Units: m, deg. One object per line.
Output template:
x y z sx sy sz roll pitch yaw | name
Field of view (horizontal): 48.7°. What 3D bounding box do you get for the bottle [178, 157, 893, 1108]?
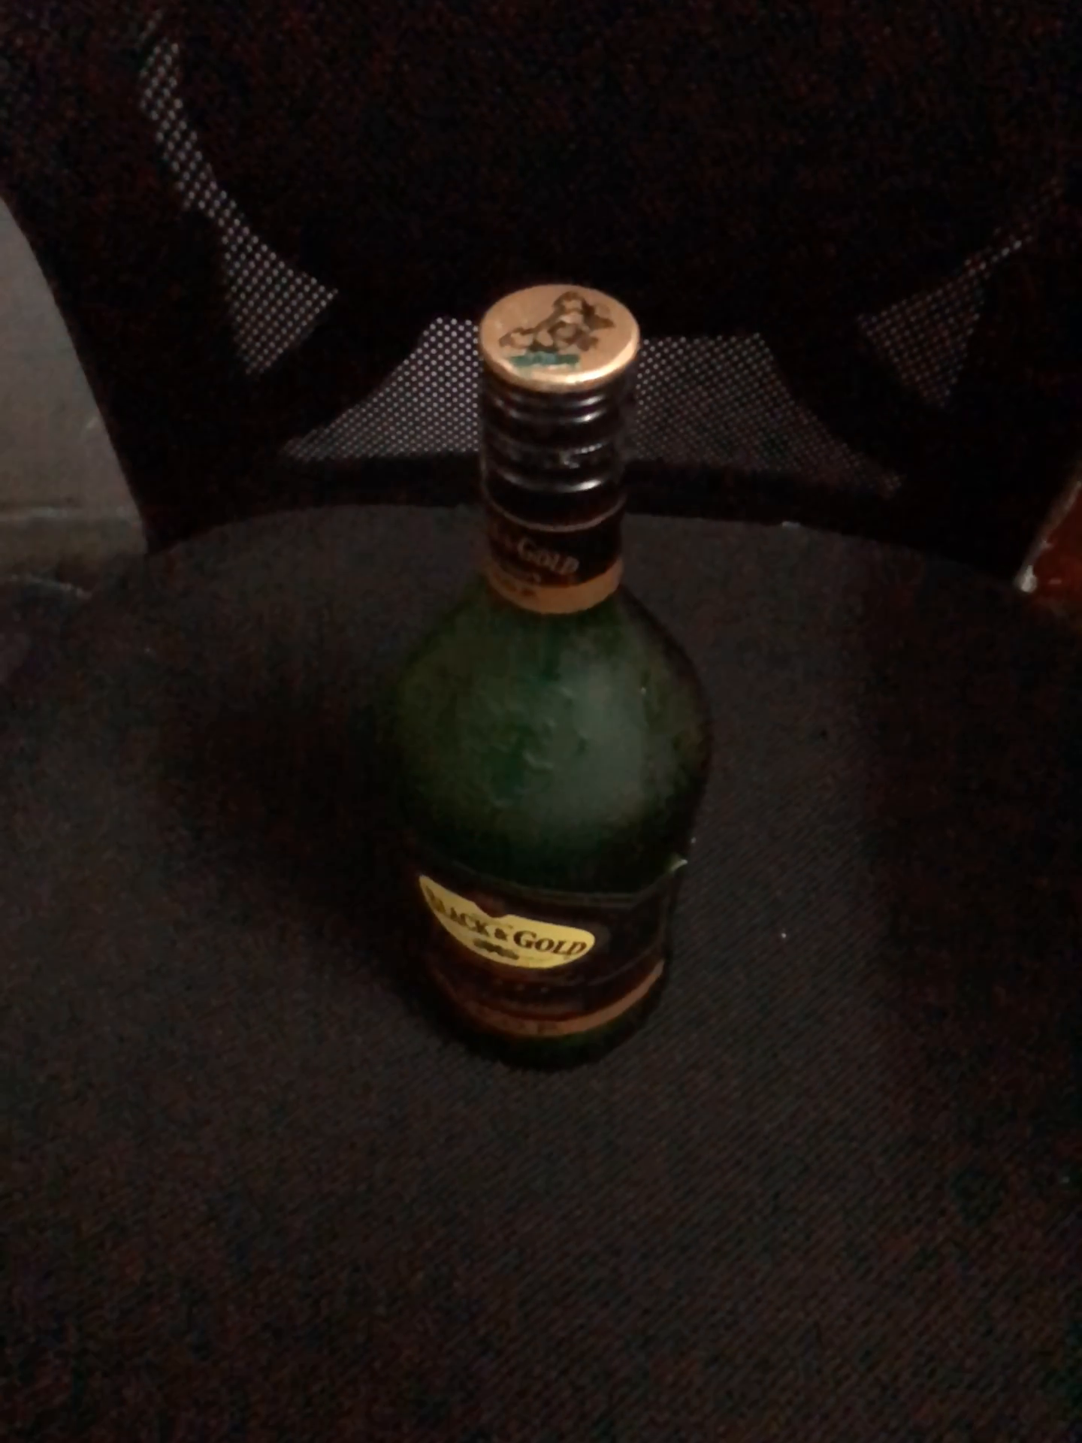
-0.003 0.006 0.330 0.110 0.269 0.080 19 56 10 | bottle
